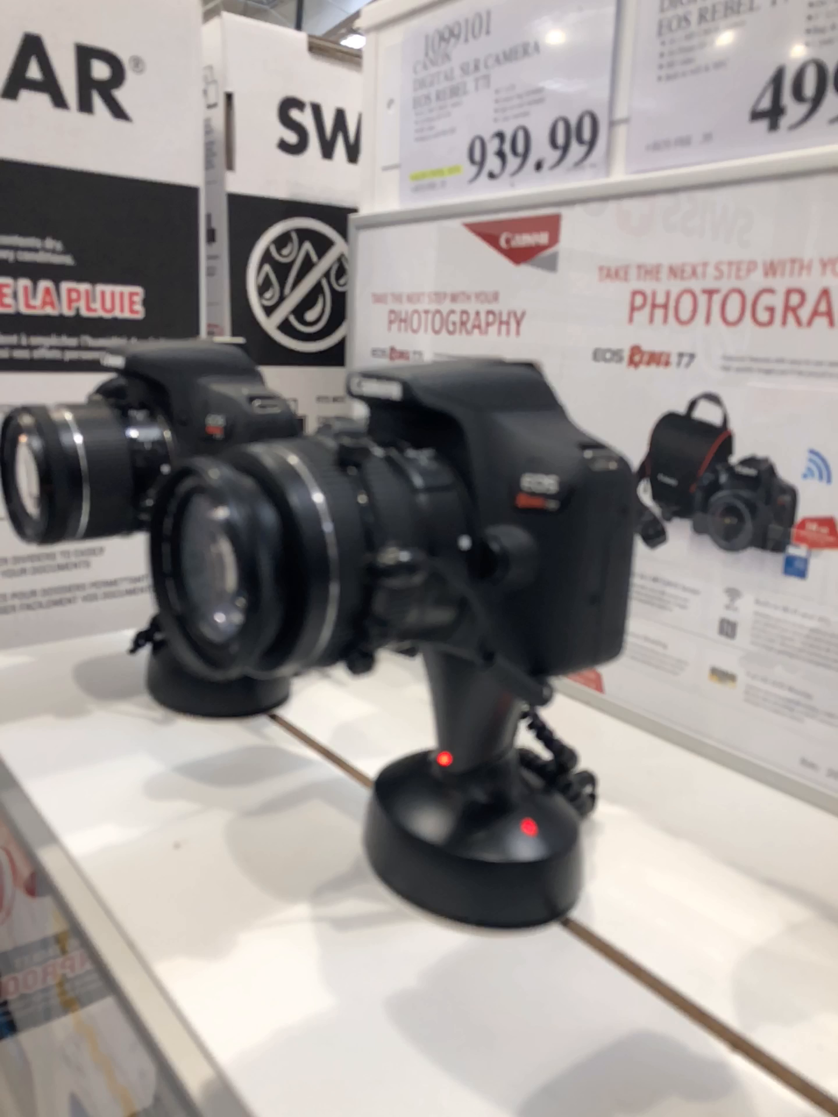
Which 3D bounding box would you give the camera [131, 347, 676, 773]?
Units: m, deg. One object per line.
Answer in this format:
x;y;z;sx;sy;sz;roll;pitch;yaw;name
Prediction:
-0.010;-0.016;0.302;0.120;0.100;0.130;-8;17;-39;camera
